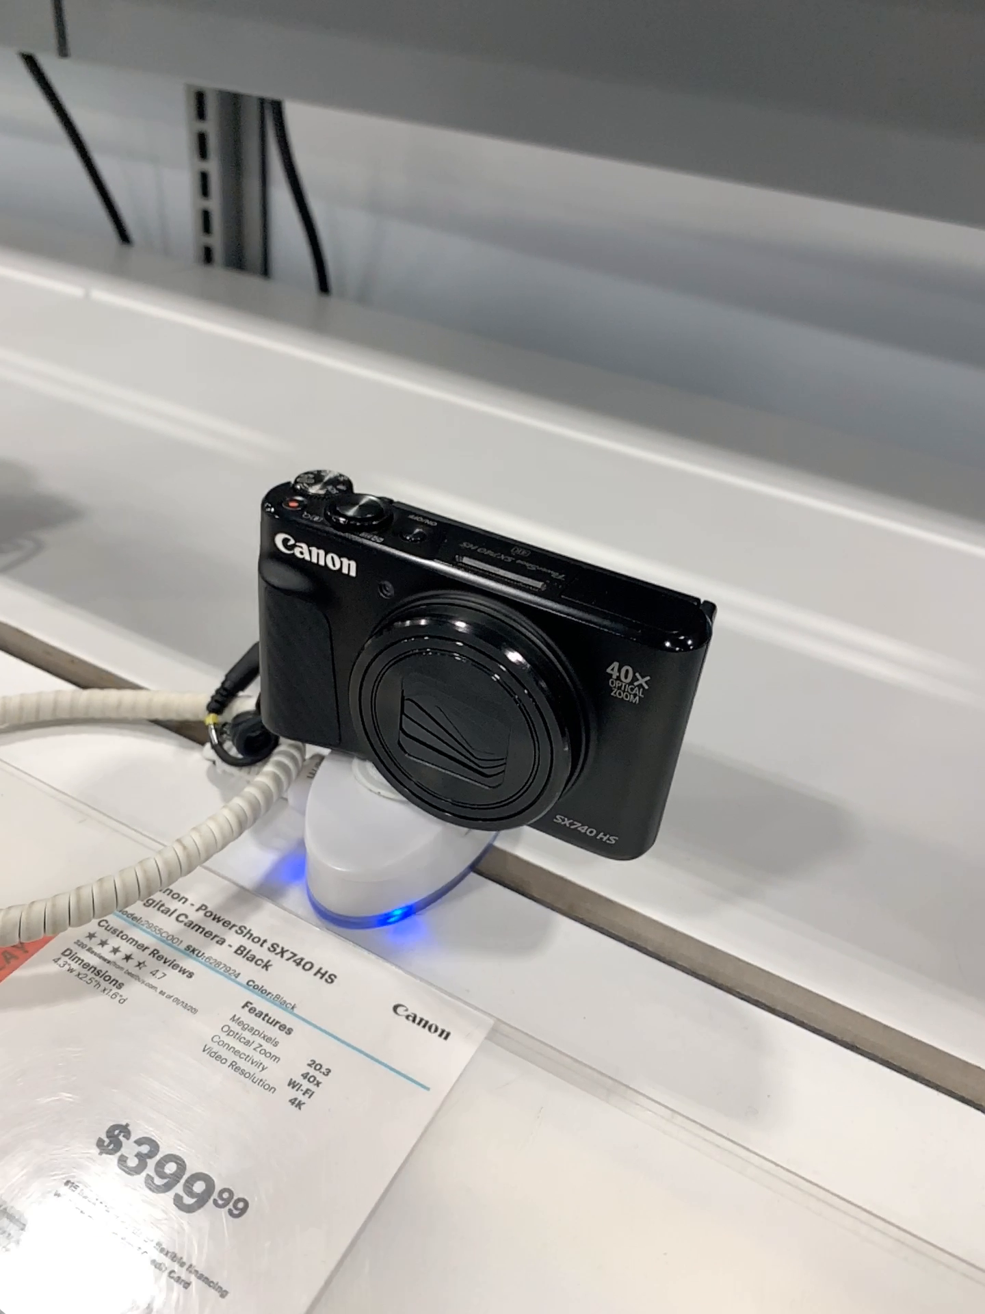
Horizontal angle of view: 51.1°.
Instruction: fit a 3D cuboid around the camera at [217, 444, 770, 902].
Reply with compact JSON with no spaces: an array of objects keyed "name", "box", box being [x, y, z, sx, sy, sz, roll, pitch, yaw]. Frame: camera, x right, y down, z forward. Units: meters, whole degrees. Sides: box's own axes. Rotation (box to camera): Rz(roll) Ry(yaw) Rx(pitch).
[{"name":"camera","box":[-0.004,0.000,0.251,0.120,0.063,0.042,20,35,17]}]
